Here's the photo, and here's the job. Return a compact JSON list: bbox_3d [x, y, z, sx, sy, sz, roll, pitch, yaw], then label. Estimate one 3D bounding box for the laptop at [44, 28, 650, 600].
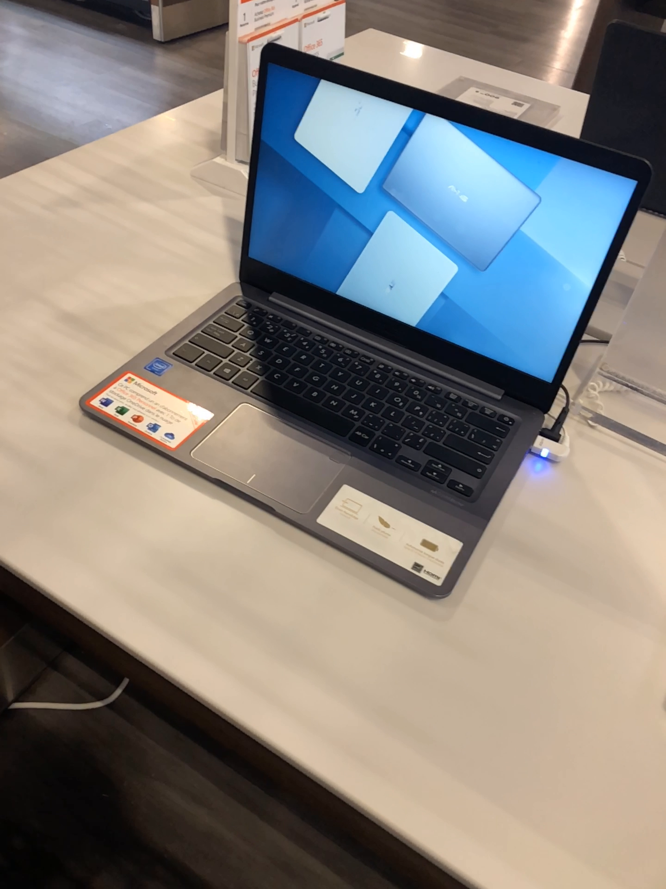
[{"bbox_3d":[0.019,-0.129,0.573,0.333,0.180,0.301,25,52,15],"label":"laptop"}]
